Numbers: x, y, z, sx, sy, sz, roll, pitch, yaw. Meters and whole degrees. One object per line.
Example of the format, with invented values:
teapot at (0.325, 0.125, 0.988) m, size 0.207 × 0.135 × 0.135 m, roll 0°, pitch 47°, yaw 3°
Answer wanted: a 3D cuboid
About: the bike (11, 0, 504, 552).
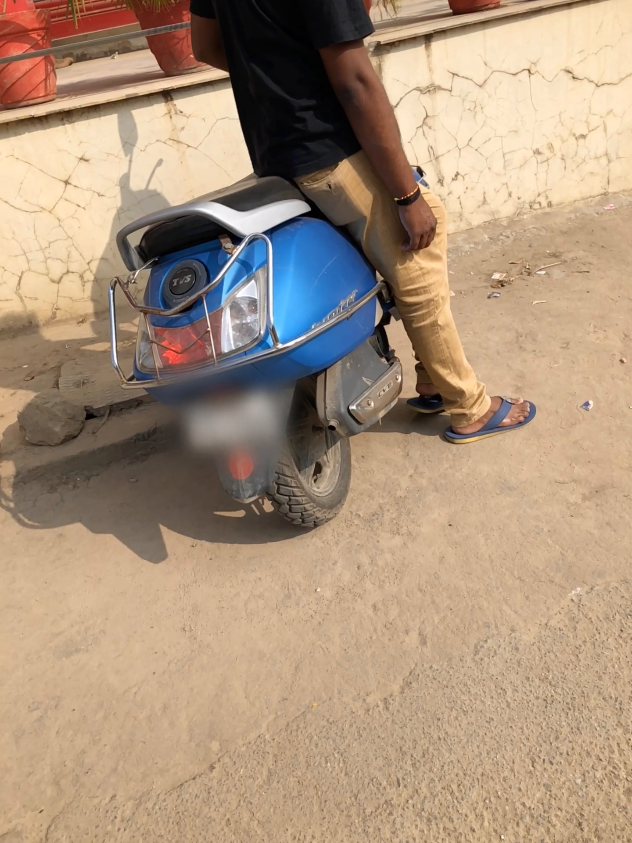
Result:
bike at (0.110, -0.595, 1.966) m, size 0.593 × 1.021 × 1.580 m, roll 2°, pitch 37°, yaw 21°
